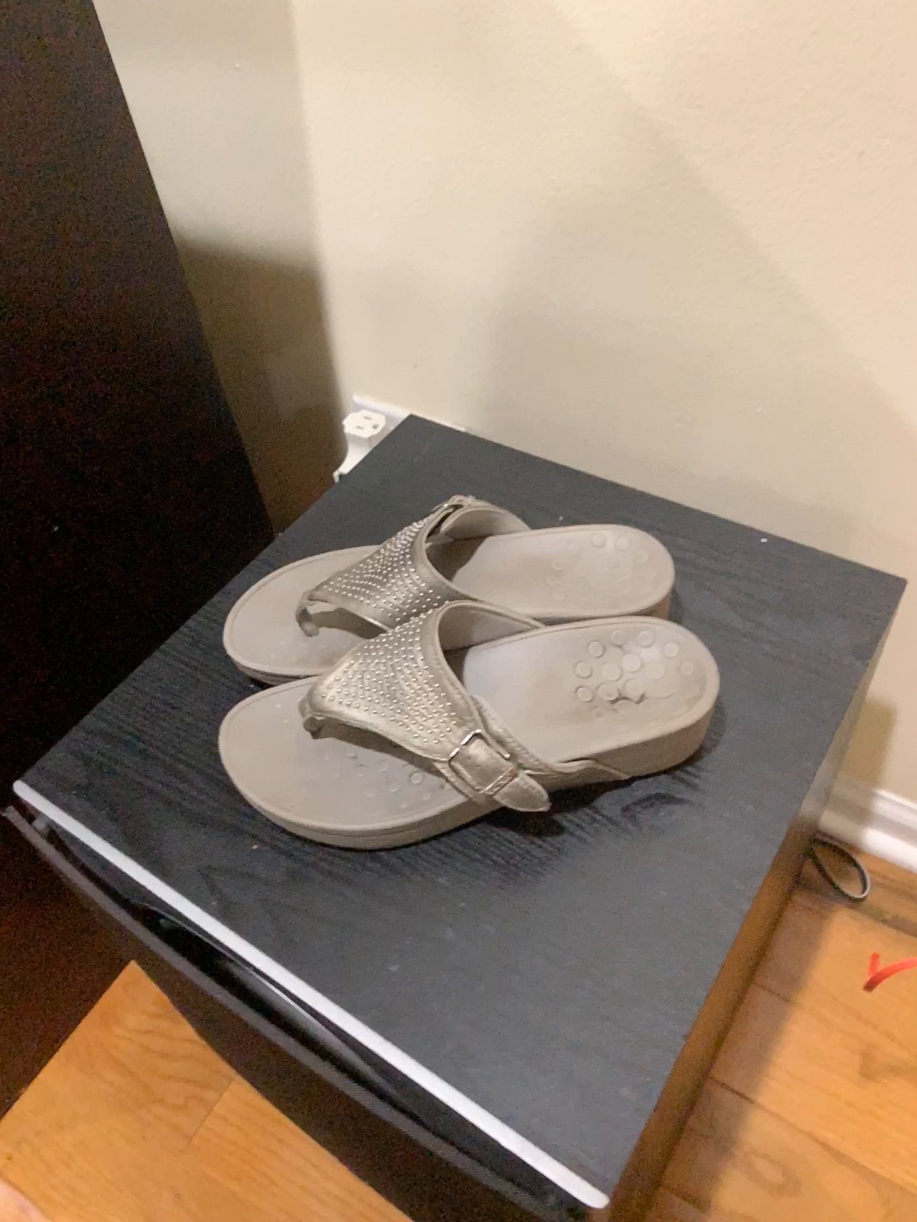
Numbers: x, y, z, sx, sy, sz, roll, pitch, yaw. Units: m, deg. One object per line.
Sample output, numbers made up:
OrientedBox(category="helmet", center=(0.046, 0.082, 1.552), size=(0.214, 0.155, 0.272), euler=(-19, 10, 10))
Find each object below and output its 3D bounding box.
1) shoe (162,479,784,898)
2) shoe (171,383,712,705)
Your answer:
OrientedBox(category="shoe", center=(0.002, 0.032, 0.432), size=(0.247, 0.080, 0.109), euler=(-14, 48, -5))
OrientedBox(category="shoe", center=(-0.010, -0.036, 0.492), size=(0.247, 0.080, 0.109), euler=(-9, 48, 0))
